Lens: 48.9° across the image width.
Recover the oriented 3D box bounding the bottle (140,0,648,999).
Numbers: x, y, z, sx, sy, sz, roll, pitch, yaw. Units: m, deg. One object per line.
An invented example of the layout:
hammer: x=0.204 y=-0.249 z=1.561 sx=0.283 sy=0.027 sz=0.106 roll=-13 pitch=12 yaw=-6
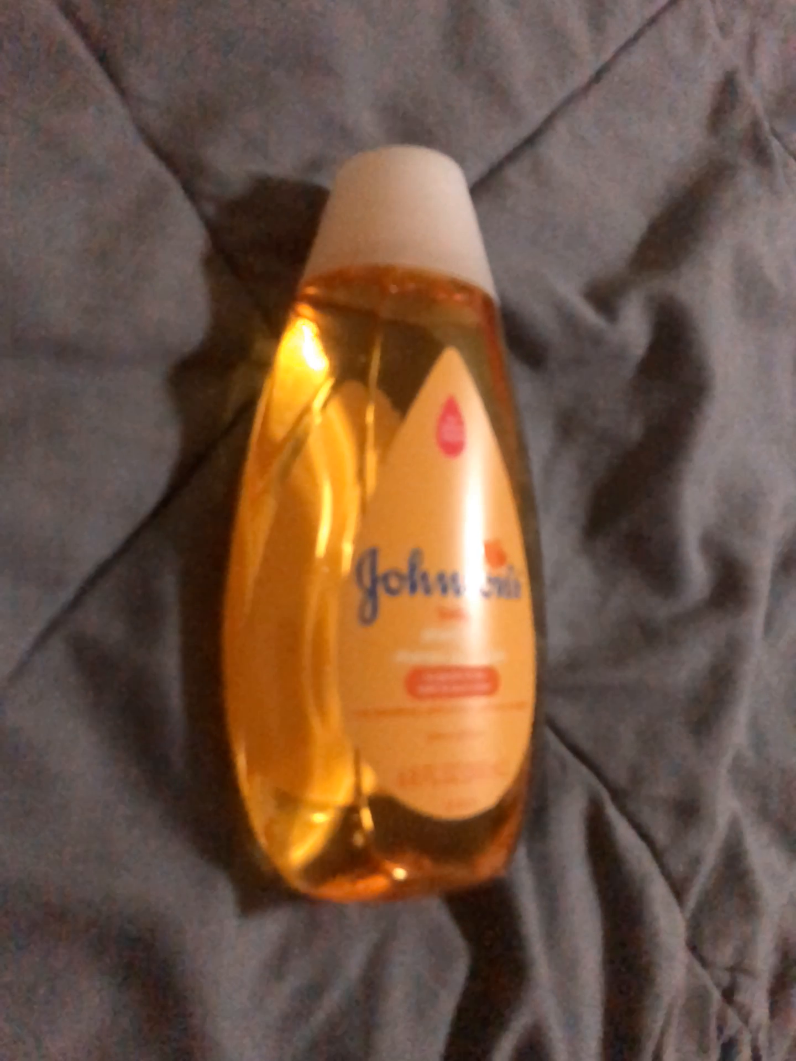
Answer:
bottle: x=-0.001 y=-0.011 z=0.170 sx=0.084 sy=0.040 sz=0.160 roll=1 pitch=84 yaw=-33
